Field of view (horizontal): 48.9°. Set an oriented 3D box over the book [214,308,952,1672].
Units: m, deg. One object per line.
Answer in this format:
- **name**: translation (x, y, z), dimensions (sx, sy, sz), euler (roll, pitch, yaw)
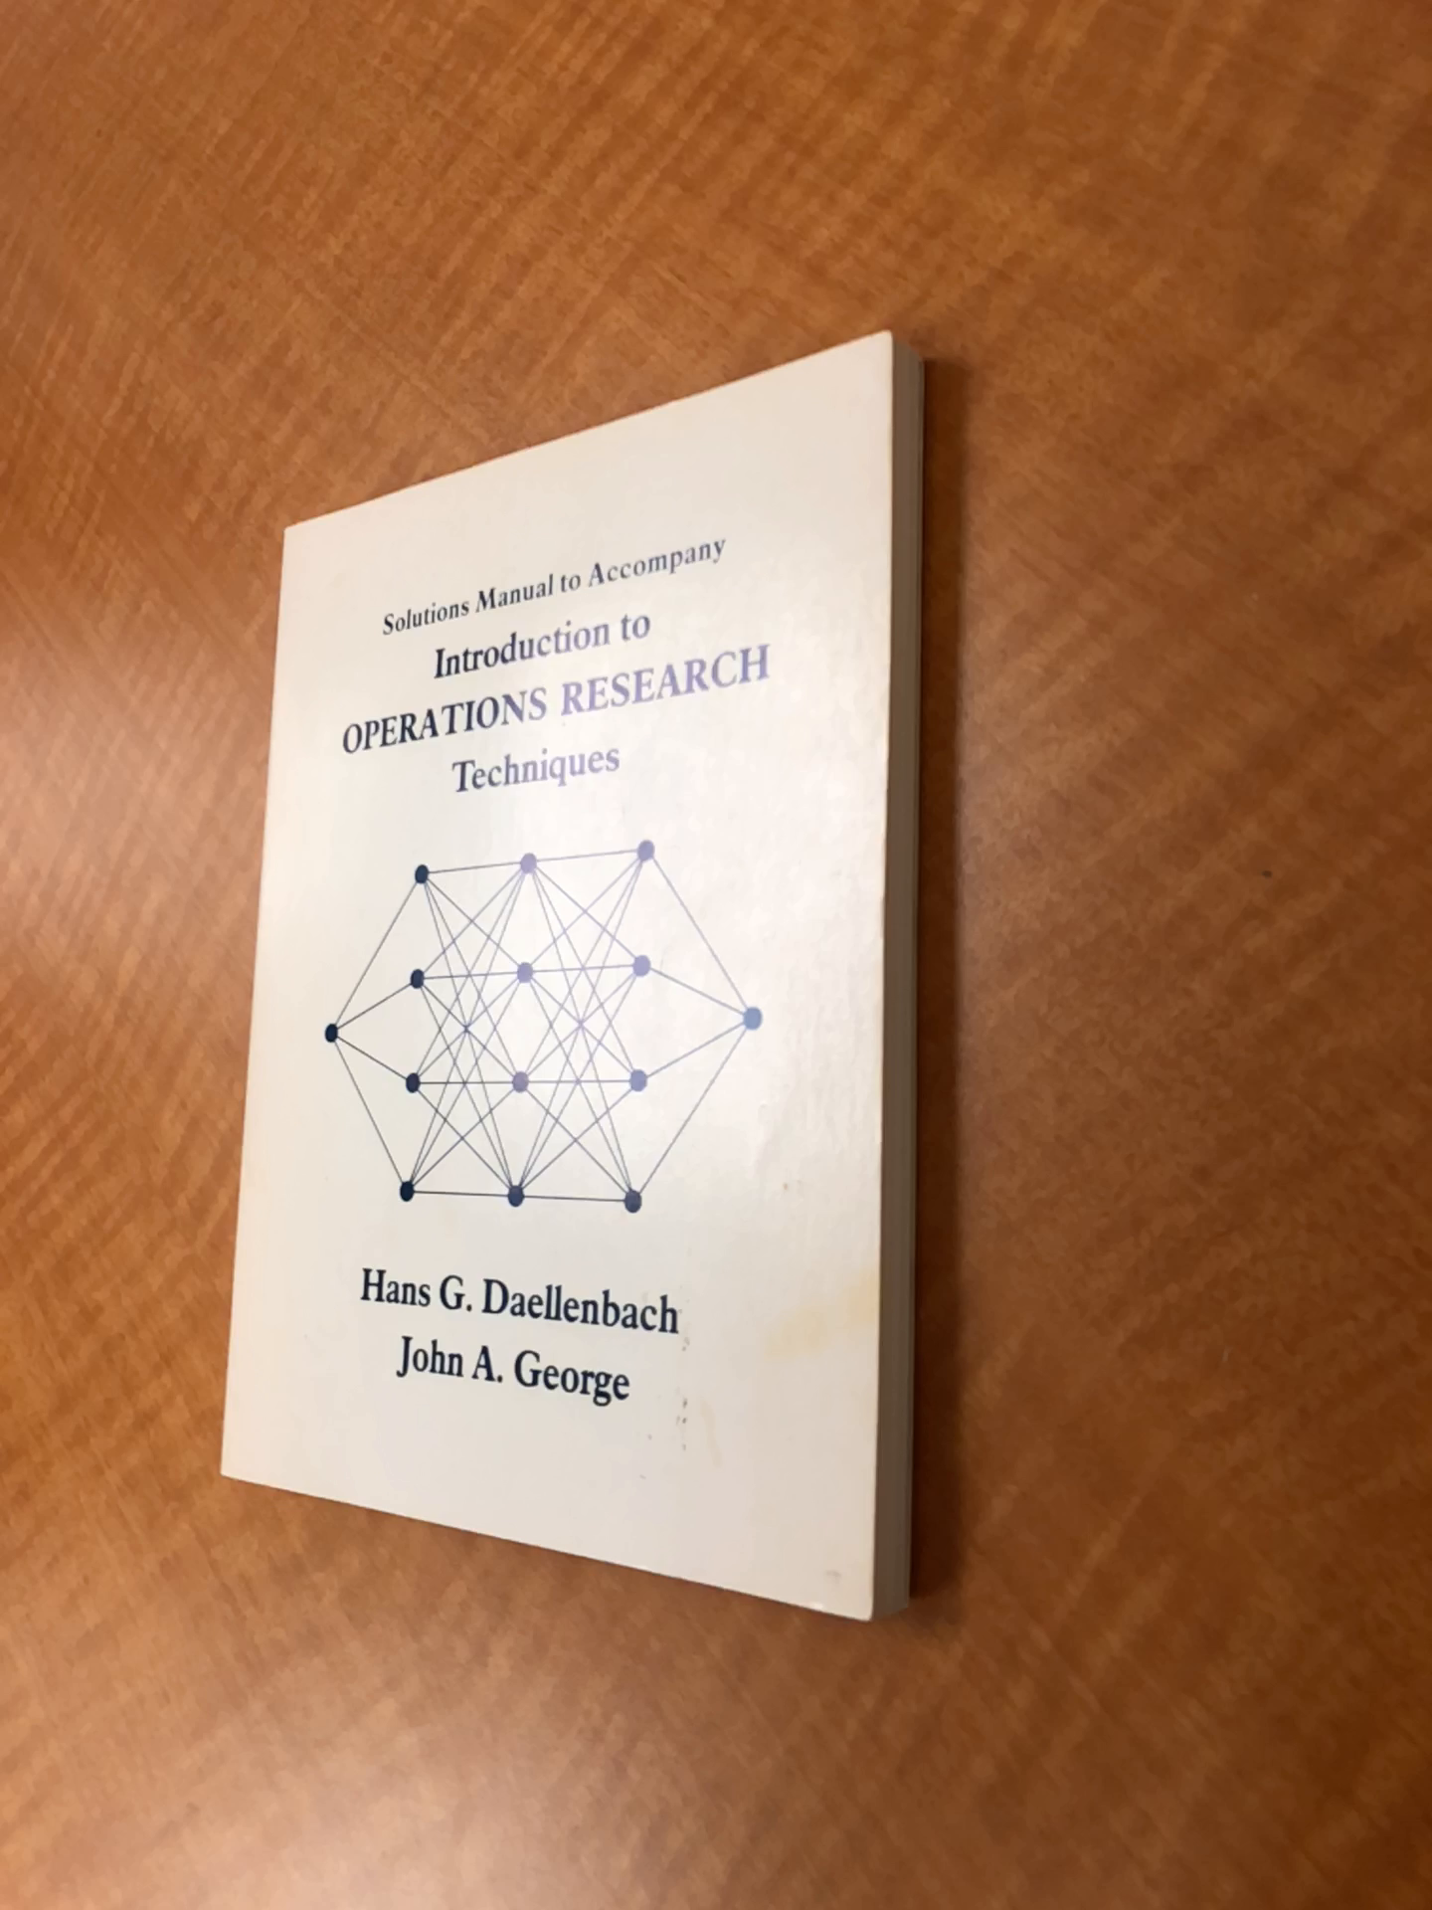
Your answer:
- **book**: translation (-0.035, 0.005, 0.346), dimensions (0.181, 0.020, 0.250), euler (-4, 80, 34)
